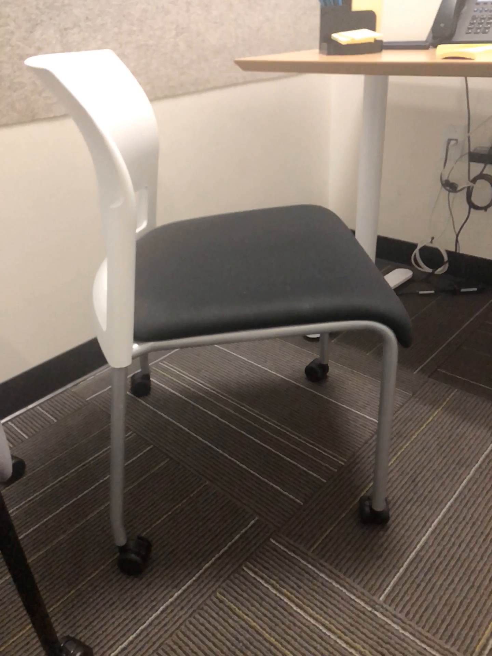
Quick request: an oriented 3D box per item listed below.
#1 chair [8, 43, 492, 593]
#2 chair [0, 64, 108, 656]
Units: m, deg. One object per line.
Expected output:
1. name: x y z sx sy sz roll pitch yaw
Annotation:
1. chair: -0.033 -0.088 1.221 0.651 0.962 0.705 -5 28 -10
2. chair: -0.689 0.147 0.799 0.652 0.933 0.703 -16 31 -27
